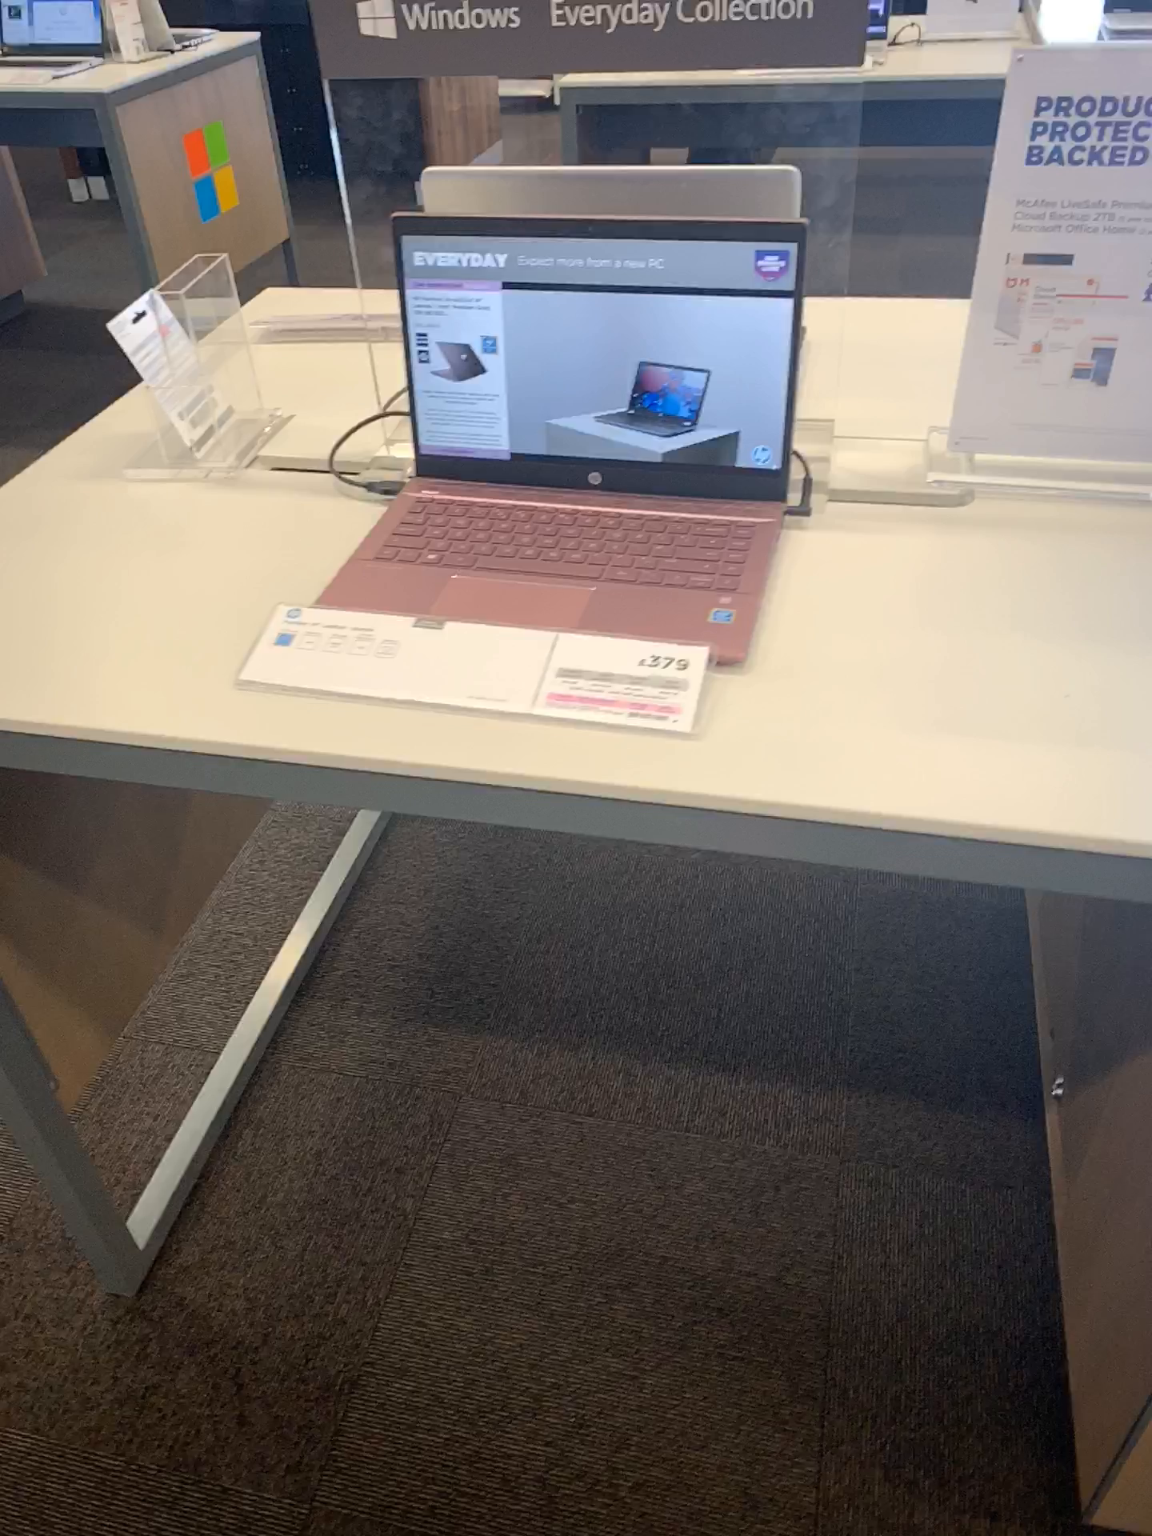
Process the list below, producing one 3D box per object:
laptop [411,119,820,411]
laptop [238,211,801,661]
[{"bbox_3d":[0.049,-0.478,1.102,0.324,0.186,0.245,6,39,12],"label":"laptop"},{"bbox_3d":[-0.019,-0.248,0.838,0.312,0.200,0.251,8,41,13],"label":"laptop"}]
